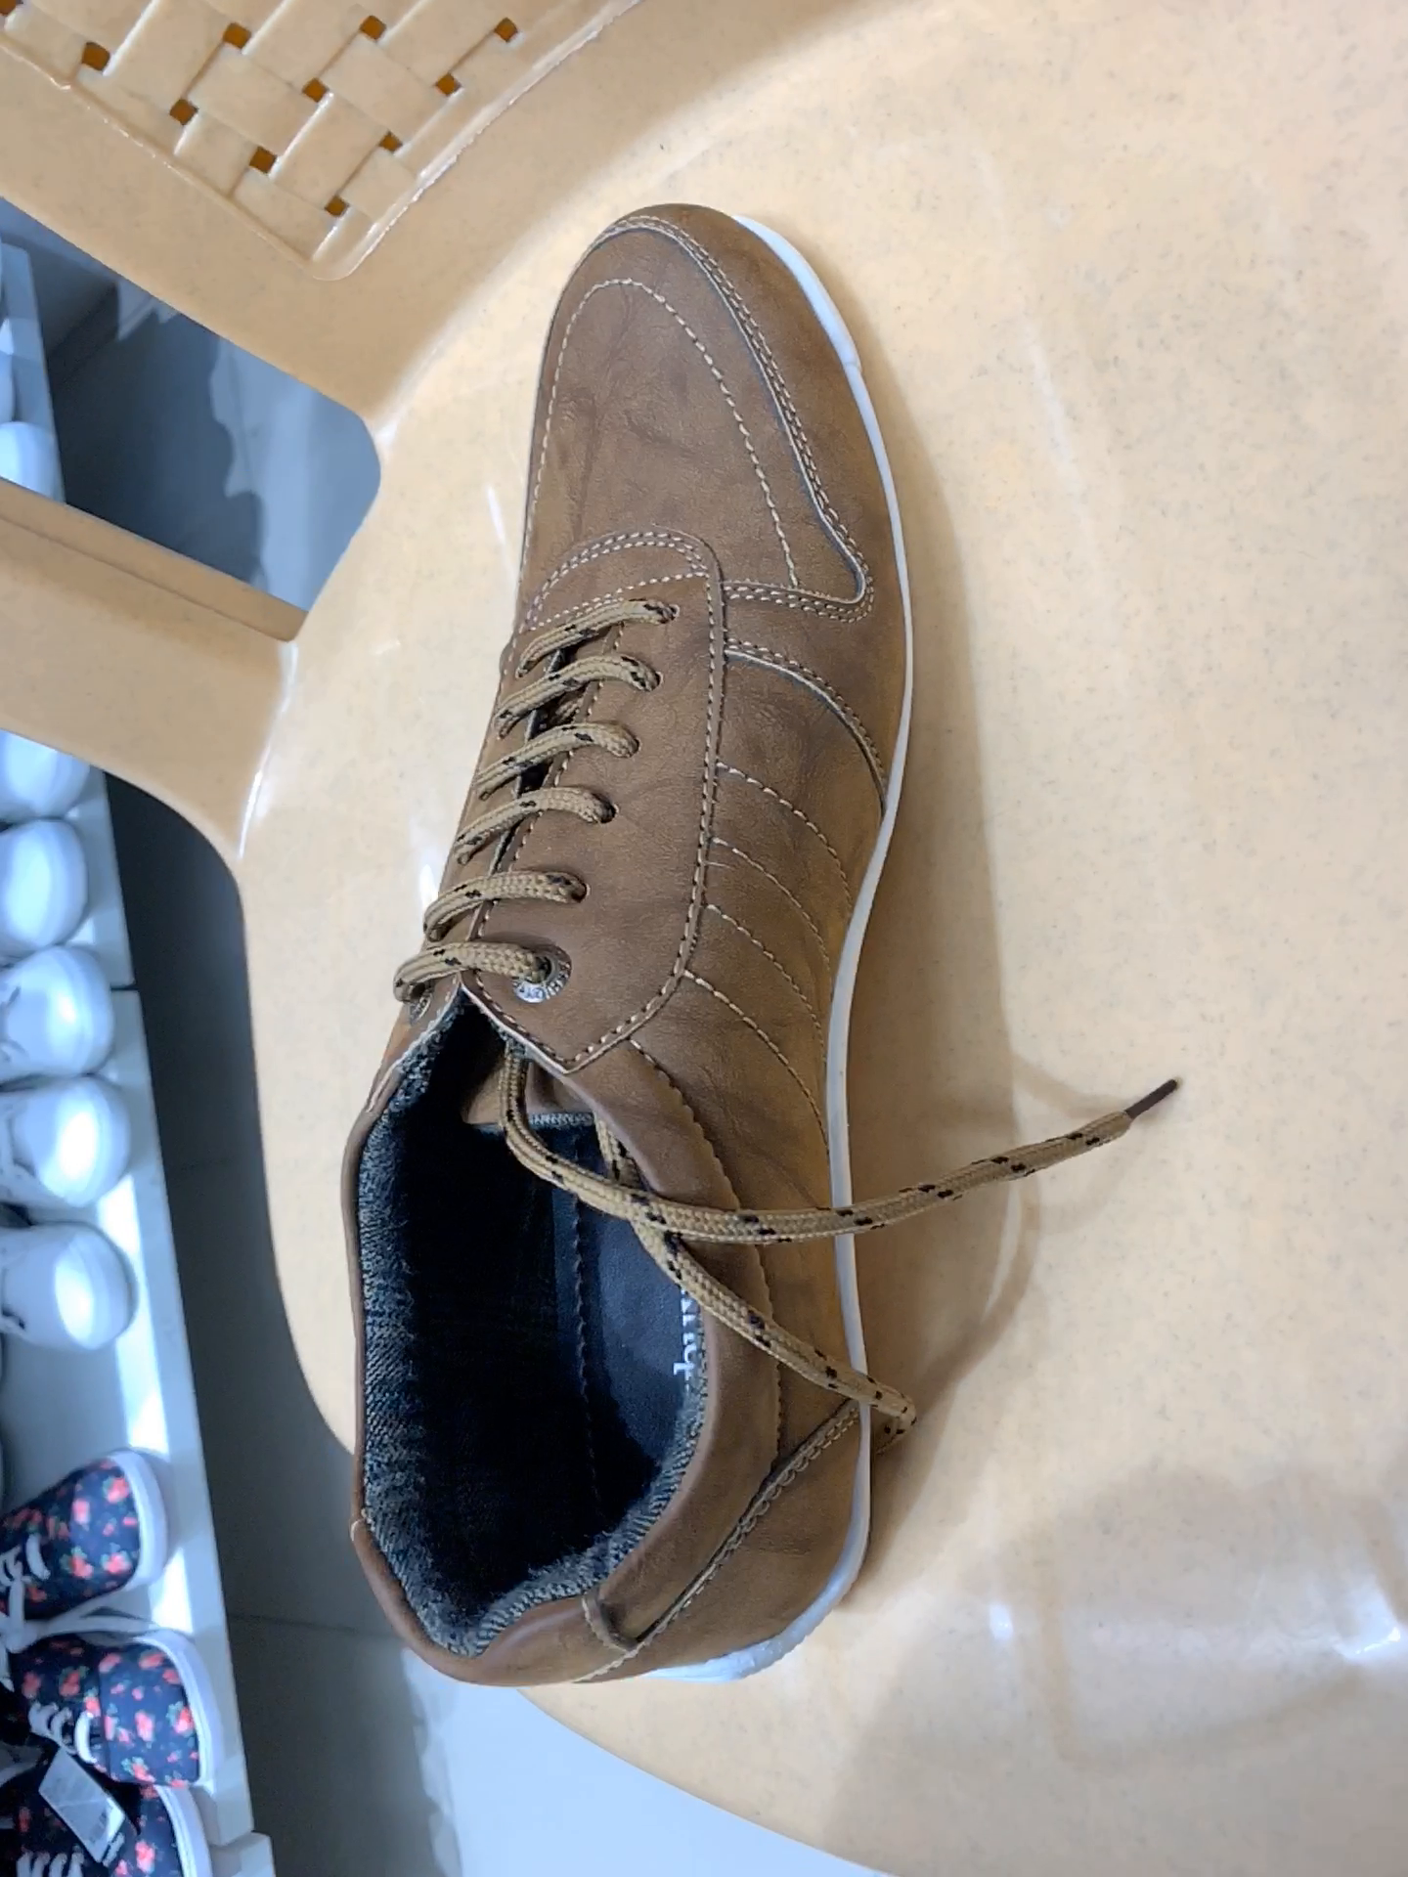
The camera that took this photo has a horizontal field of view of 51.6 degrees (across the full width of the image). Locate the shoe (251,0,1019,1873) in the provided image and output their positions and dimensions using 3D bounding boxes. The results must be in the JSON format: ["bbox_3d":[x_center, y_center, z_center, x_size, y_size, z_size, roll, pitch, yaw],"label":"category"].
[{"bbox_3d":[-0.005,-0.008,0.302,0.101,0.100,0.310,-8,74,41],"label":"shoe"}]
